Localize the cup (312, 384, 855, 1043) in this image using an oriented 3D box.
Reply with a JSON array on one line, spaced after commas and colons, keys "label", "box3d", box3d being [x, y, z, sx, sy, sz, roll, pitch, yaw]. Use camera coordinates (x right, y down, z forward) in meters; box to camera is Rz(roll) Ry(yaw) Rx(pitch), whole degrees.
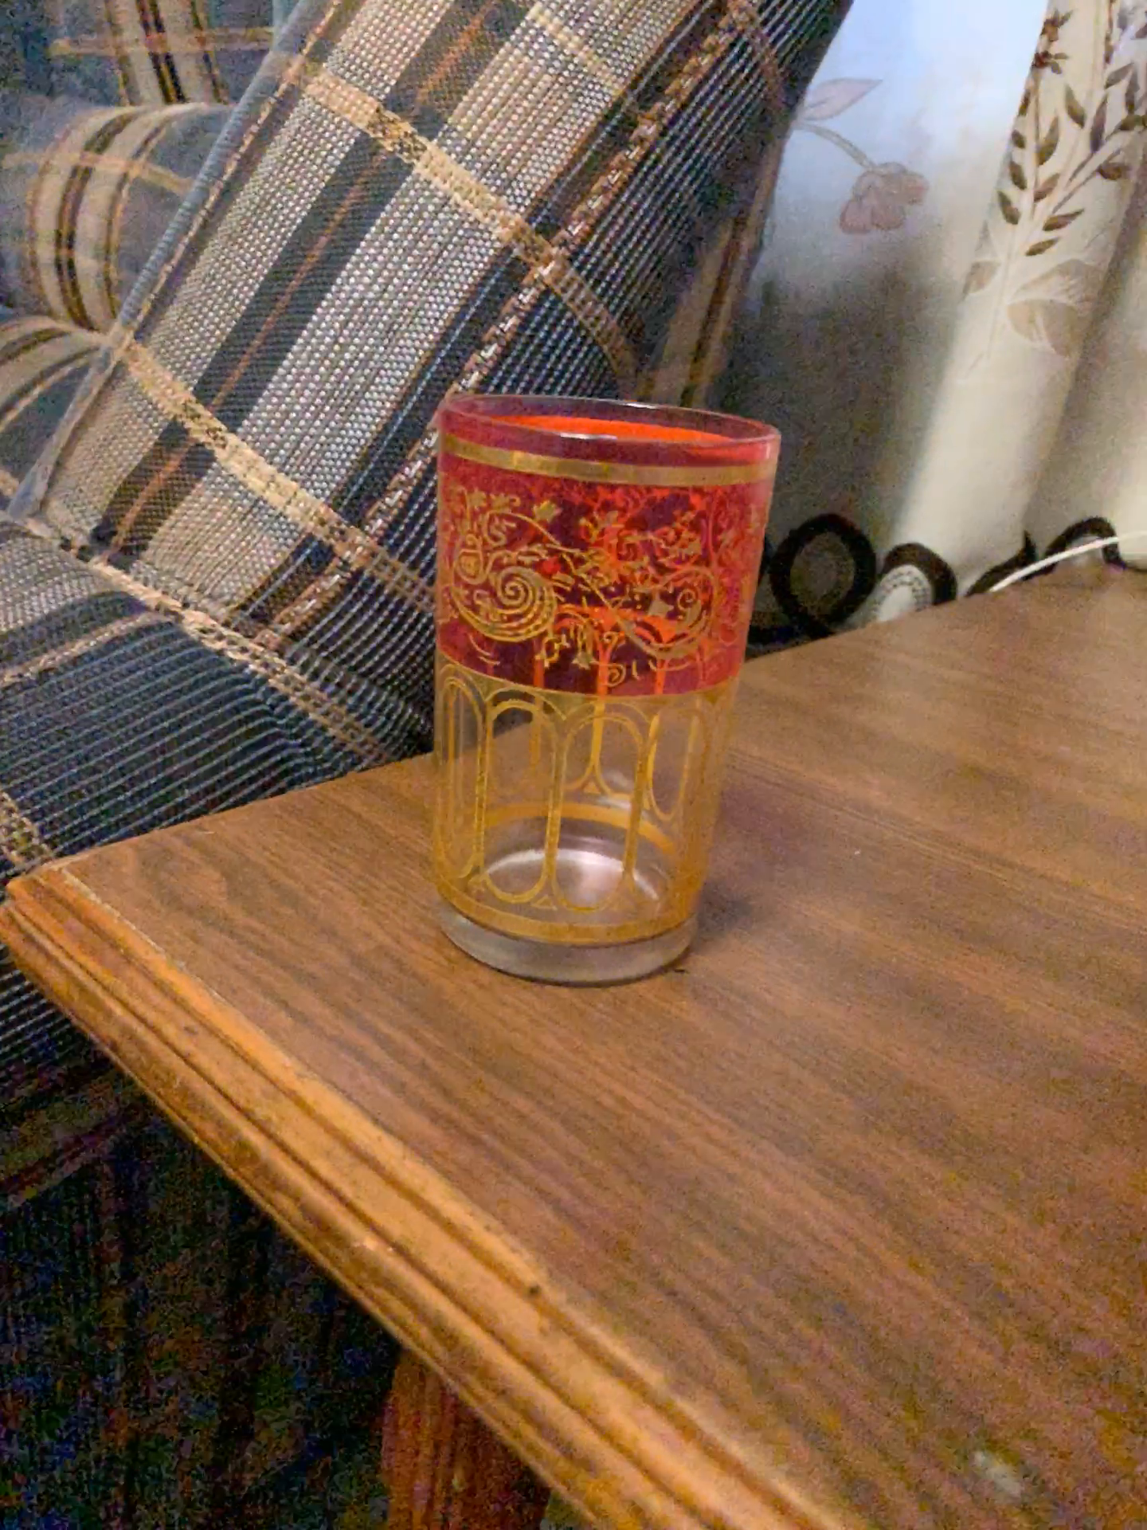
[{"label": "cup", "box3d": [0.000, -0.017, 0.229, 0.067, 0.099, 0.070, 5, 20, -2]}]
